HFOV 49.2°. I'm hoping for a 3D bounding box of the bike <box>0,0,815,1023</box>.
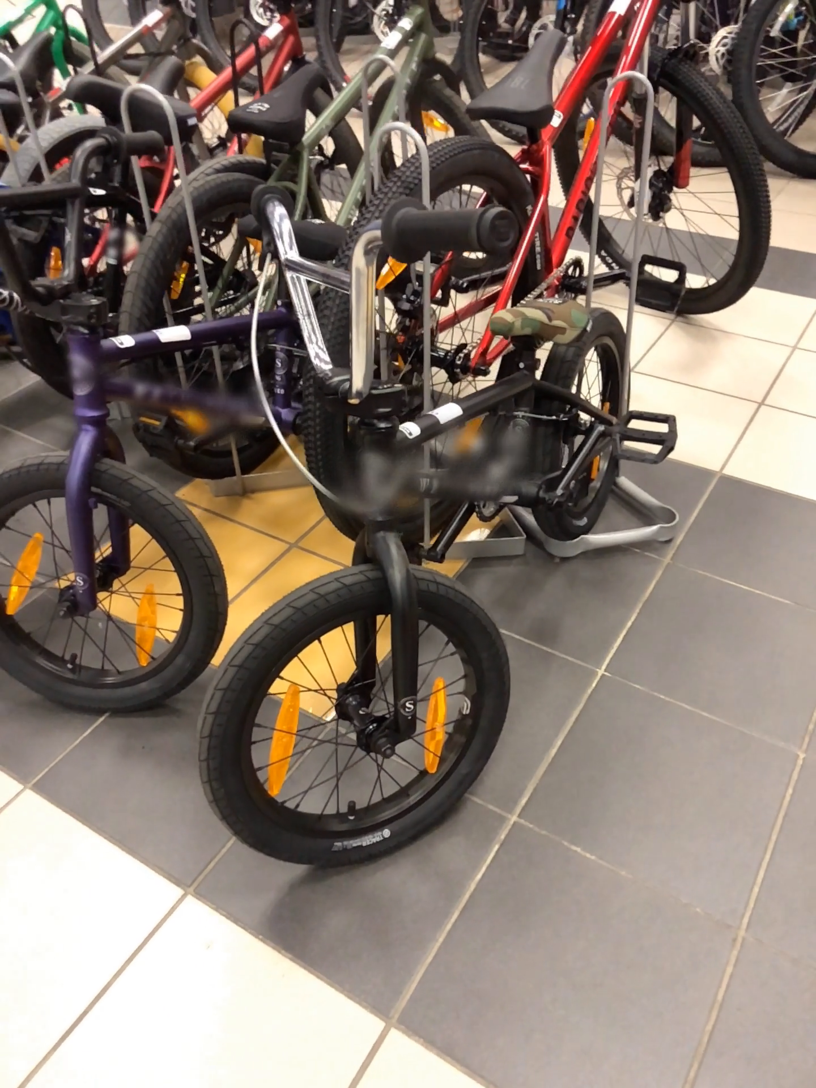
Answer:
[{"bbox_3d":[0.102,-0.202,1.176,0.677,0.810,1.076,23,43,27],"label":"bike"}]
